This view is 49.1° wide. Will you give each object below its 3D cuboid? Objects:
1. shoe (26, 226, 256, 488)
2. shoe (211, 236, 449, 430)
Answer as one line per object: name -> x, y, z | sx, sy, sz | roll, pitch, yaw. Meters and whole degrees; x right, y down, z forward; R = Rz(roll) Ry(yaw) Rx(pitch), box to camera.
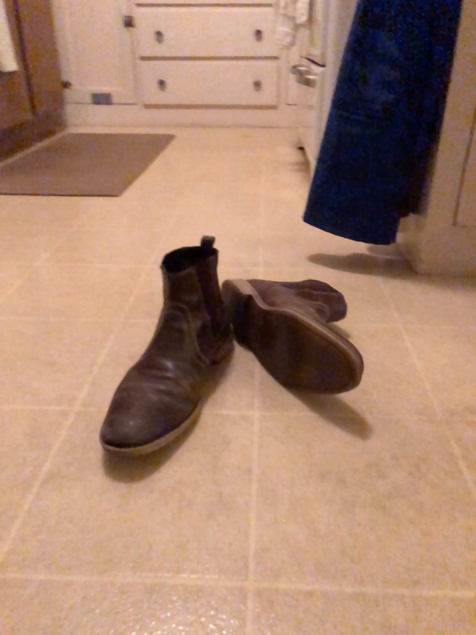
shoe -> -0.086, 0.020, 0.631 | 0.111, 0.160, 0.315 | 11, 30, 19
shoe -> 0.103, -0.003, 0.729 | 0.162, 0.111, 0.314 | -13, 31, -25
